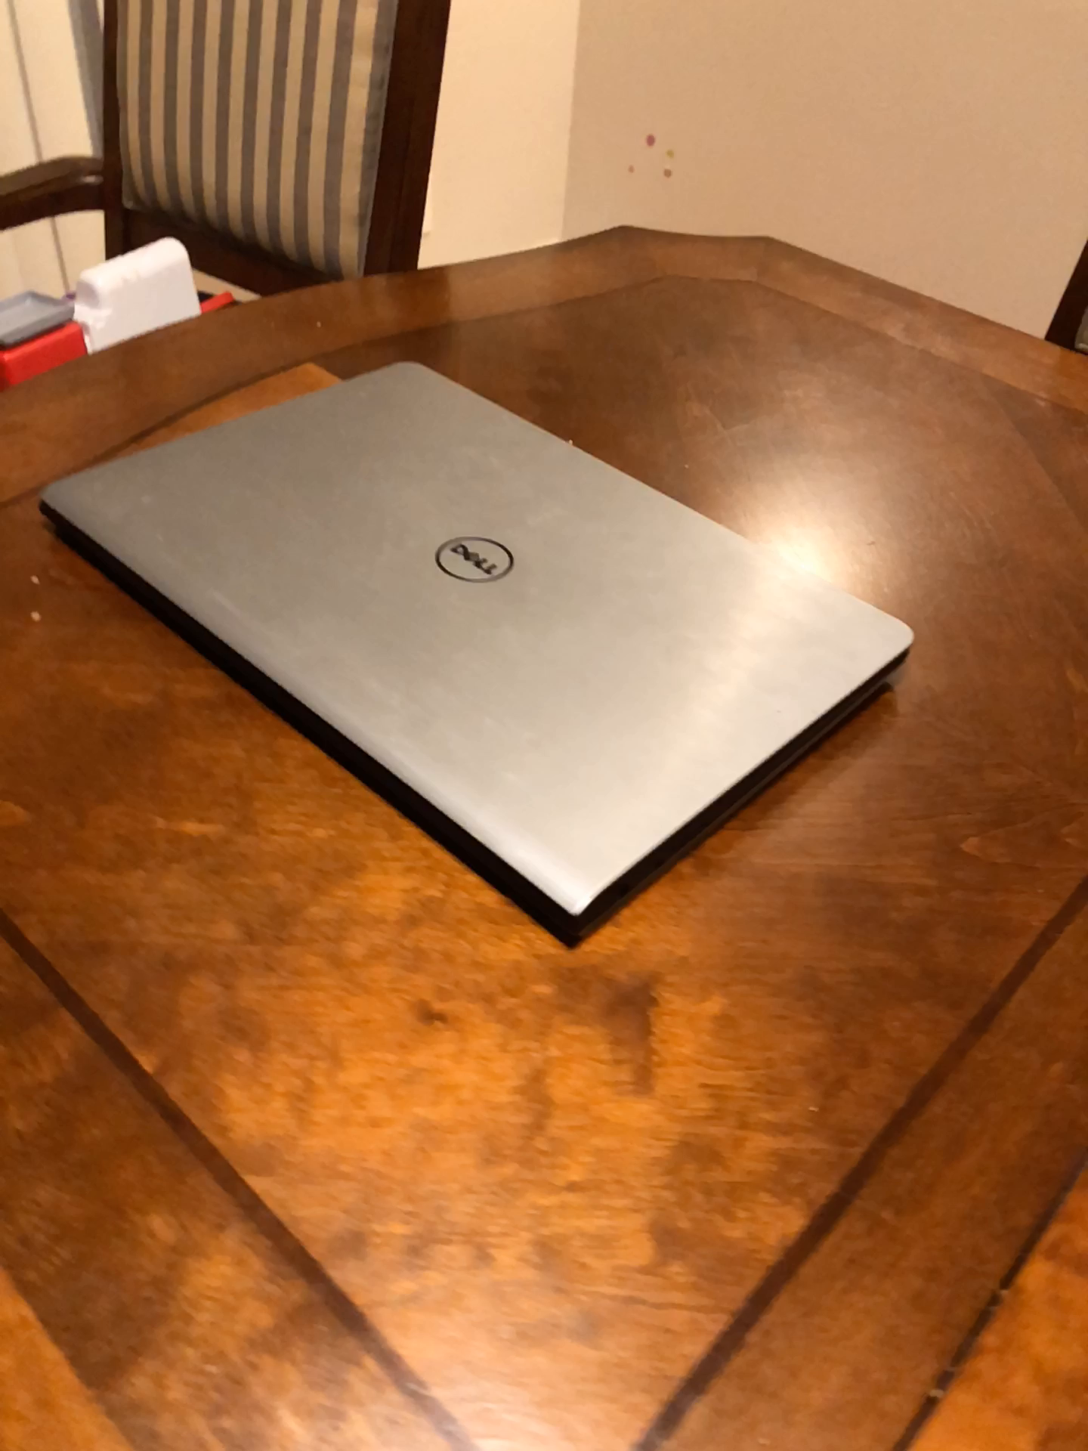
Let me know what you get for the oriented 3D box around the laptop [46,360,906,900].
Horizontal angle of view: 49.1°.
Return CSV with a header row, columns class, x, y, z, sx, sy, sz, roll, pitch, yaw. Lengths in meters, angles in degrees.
class,x,y,z,sx,sy,sz,roll,pitch,yaw
laptop,-0.039,-0.083,0.592,0.365,0.002,0.244,35,49,28
